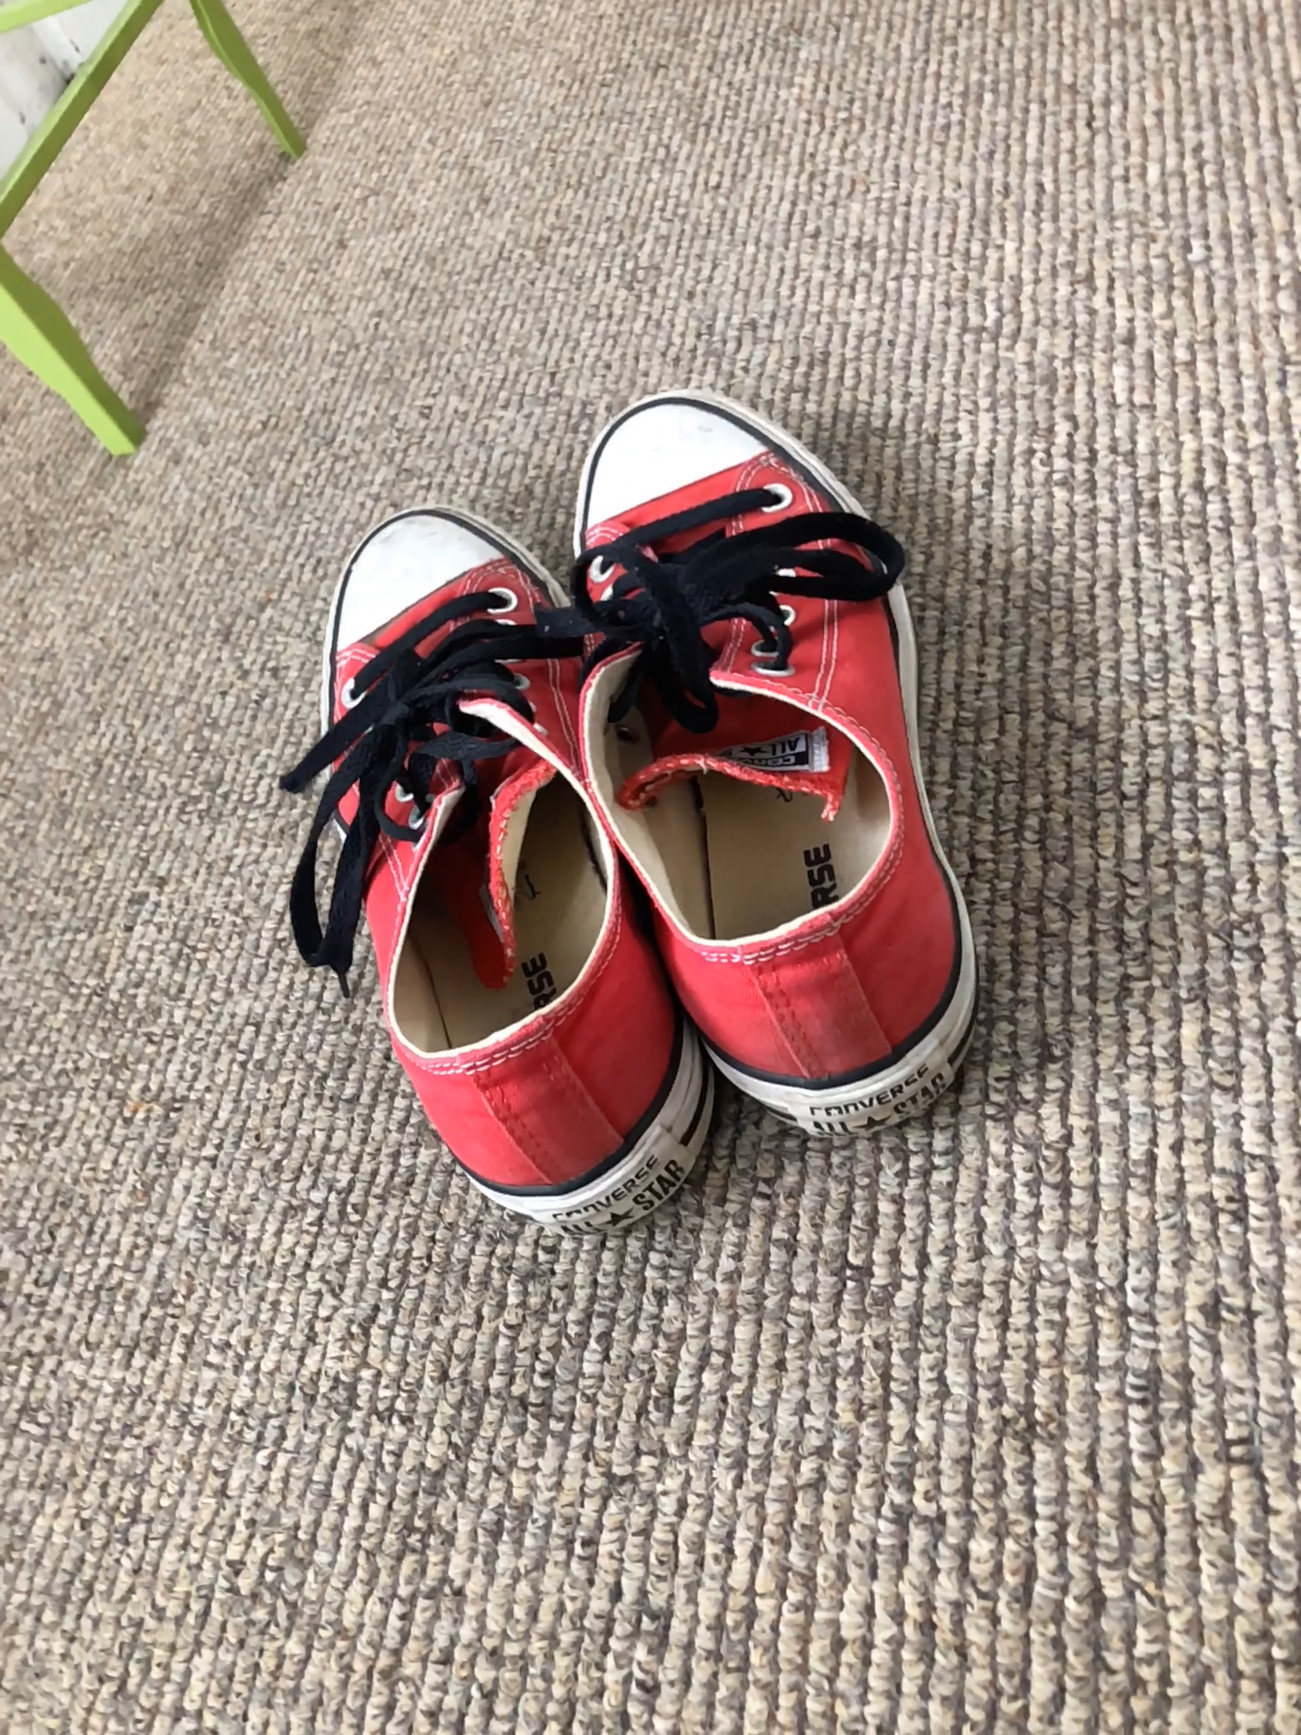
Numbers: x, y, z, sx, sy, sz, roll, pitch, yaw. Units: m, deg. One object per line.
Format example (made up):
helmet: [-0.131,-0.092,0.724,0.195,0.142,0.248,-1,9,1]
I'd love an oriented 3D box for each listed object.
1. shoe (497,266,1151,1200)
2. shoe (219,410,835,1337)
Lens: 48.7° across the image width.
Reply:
shoe: [0.037,-0.053,0.418,0.102,0.088,0.260,-22,49,9]
shoe: [-0.050,-0.013,0.442,0.102,0.096,0.263,-26,49,6]
